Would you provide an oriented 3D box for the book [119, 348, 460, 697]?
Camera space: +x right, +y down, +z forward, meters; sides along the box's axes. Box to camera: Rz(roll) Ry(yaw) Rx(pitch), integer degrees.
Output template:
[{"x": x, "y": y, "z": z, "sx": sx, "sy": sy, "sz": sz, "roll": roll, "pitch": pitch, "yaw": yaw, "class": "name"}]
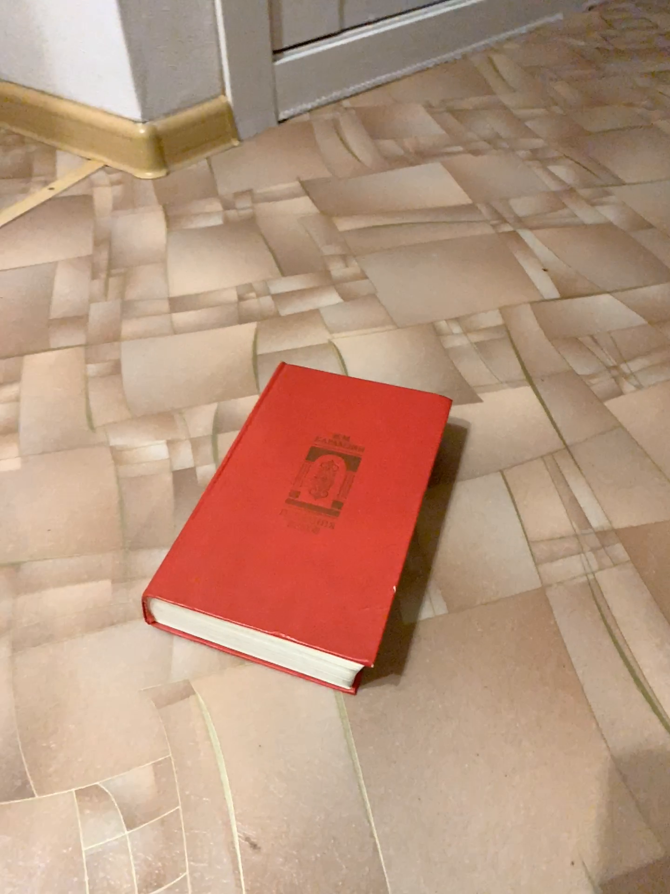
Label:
[{"x": -0.015, "y": 0.031, "z": 0.429, "sx": 0.140, "sy": 0.050, "sz": 0.201, "roll": 12, "pitch": 49, "yaw": 16, "class": "book"}]
